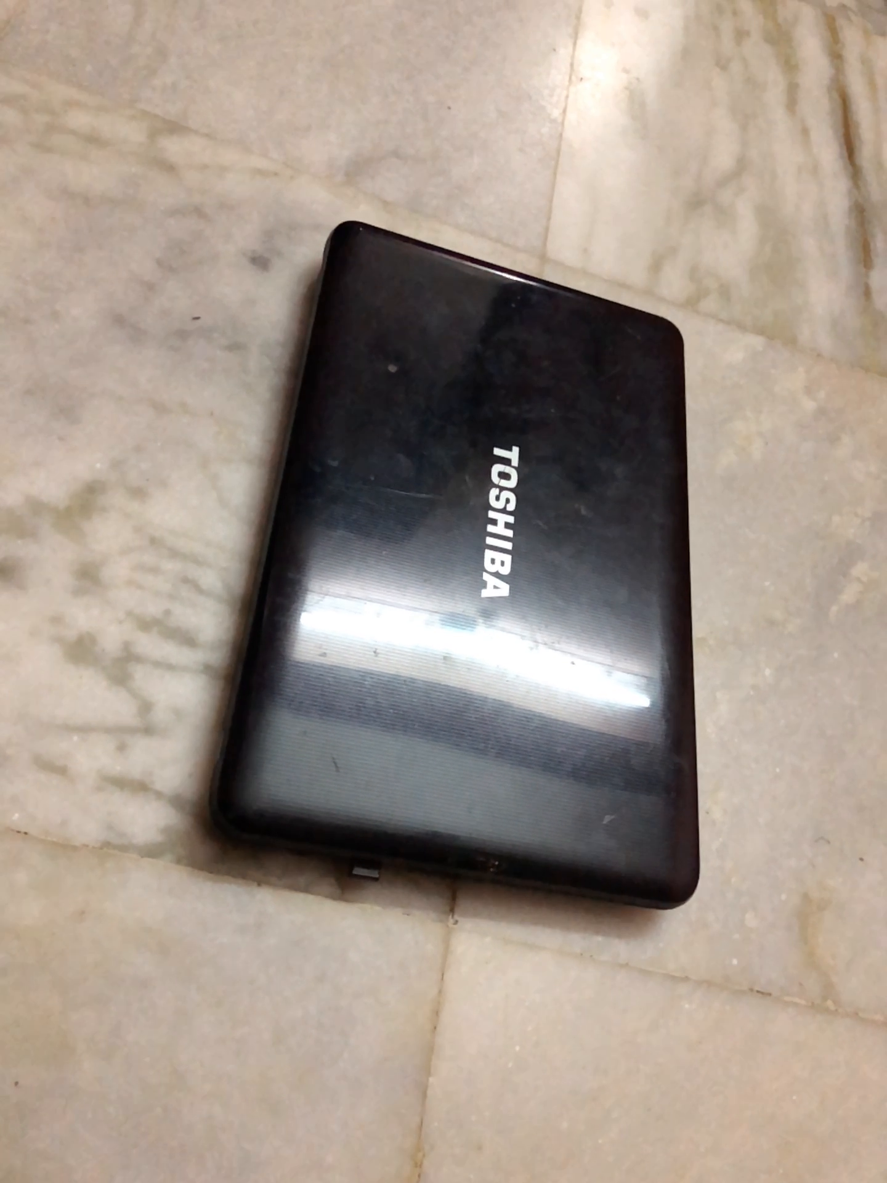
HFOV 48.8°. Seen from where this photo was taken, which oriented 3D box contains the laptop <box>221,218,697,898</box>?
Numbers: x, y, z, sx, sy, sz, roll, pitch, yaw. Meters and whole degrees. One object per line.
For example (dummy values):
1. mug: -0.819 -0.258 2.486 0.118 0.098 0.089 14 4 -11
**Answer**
1. laptop: 0.030 -0.037 0.520 0.224 0.004 0.360 13 61 -14
